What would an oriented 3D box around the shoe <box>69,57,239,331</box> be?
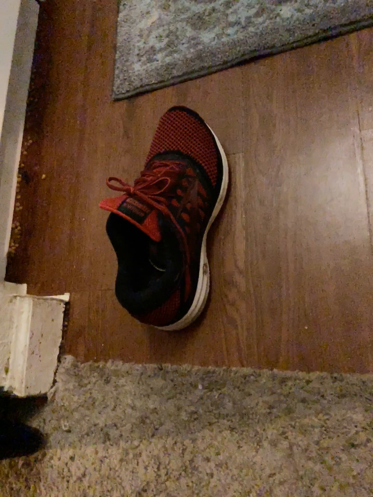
[{"bbox_3d":[-0.028,-0.056,0.529,0.130,0.140,0.300,0,76,26],"label":"shoe"}]
